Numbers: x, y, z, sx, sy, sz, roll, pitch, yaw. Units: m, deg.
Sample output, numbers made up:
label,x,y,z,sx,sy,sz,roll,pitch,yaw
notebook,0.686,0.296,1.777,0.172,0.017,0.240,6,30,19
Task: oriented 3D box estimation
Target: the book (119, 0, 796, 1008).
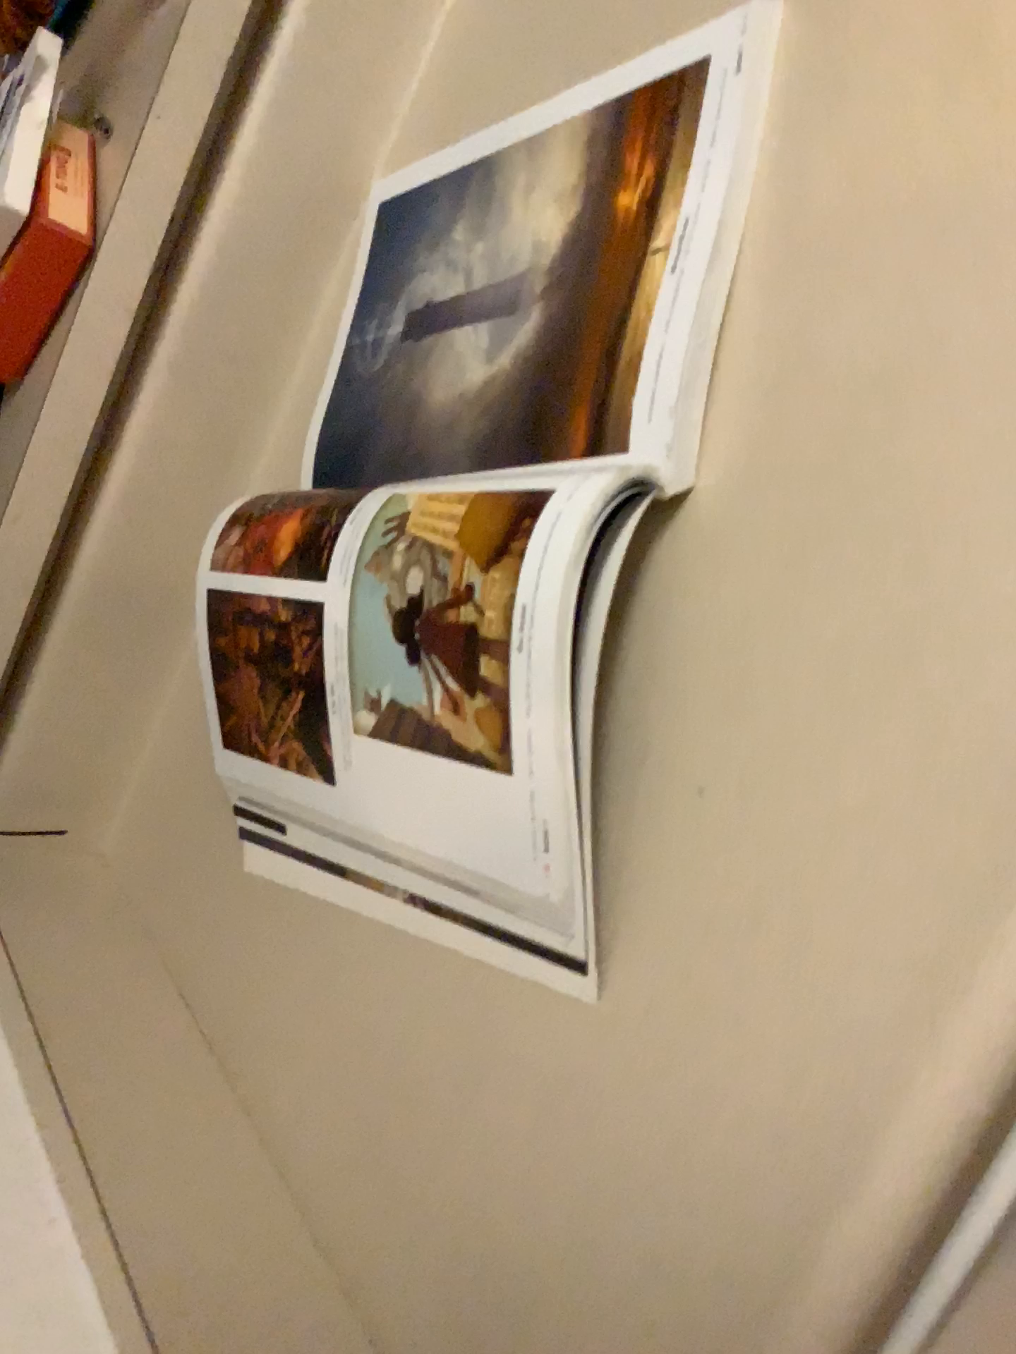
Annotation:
label,x,y,z,sx,sy,sz,roll,pitch,yaw
book,-0.049,-0.103,0.571,0.320,0.070,0.450,5,81,49
